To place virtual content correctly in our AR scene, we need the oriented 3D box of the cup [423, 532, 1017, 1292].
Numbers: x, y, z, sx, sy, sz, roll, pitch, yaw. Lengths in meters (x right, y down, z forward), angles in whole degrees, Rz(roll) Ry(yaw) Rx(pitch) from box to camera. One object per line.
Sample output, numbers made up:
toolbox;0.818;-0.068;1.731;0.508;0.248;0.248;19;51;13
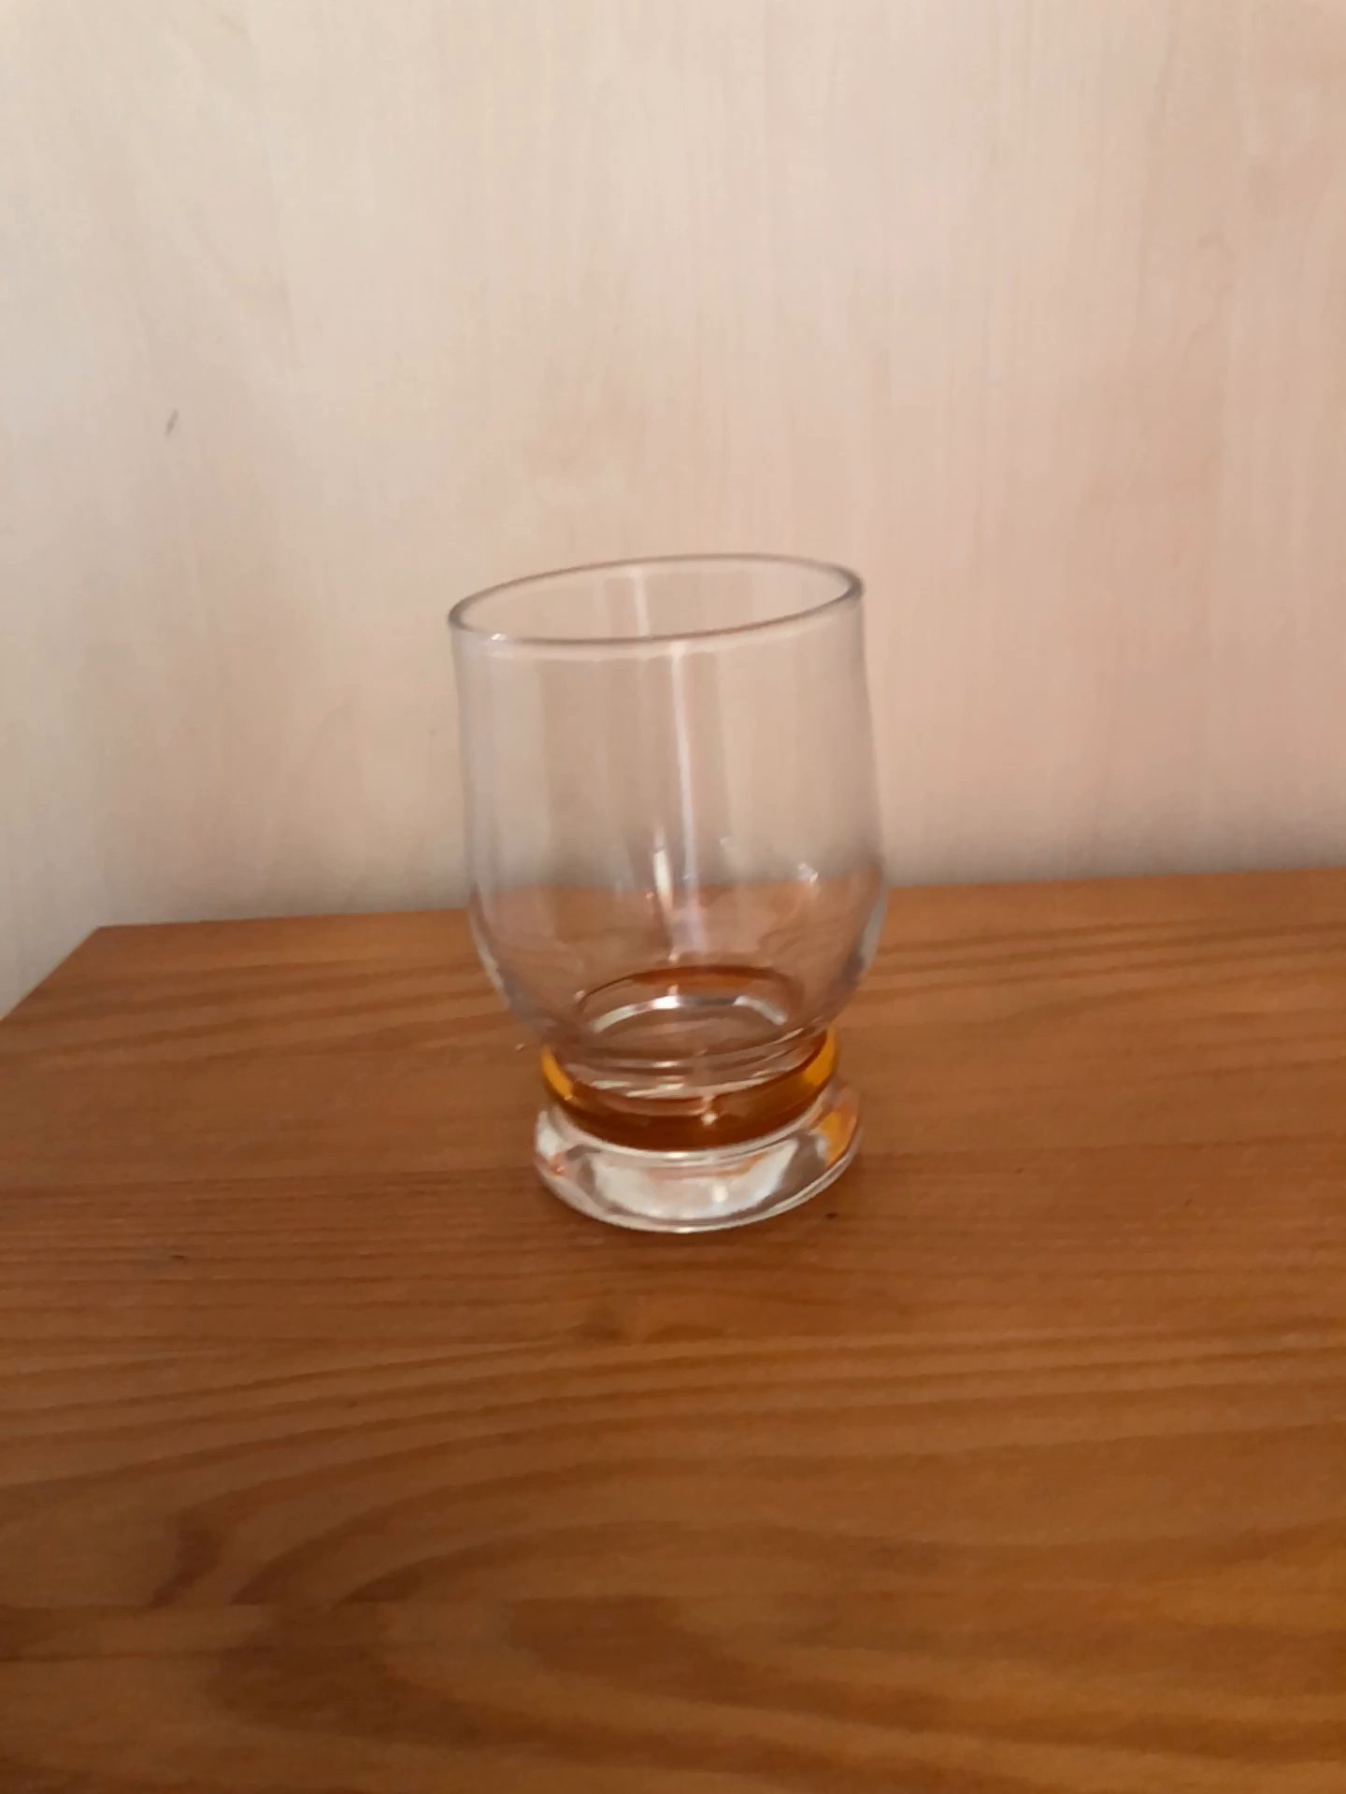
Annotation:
cup;0.006;-0.004;0.258;0.073;0.100;0.076;-3;21;1
